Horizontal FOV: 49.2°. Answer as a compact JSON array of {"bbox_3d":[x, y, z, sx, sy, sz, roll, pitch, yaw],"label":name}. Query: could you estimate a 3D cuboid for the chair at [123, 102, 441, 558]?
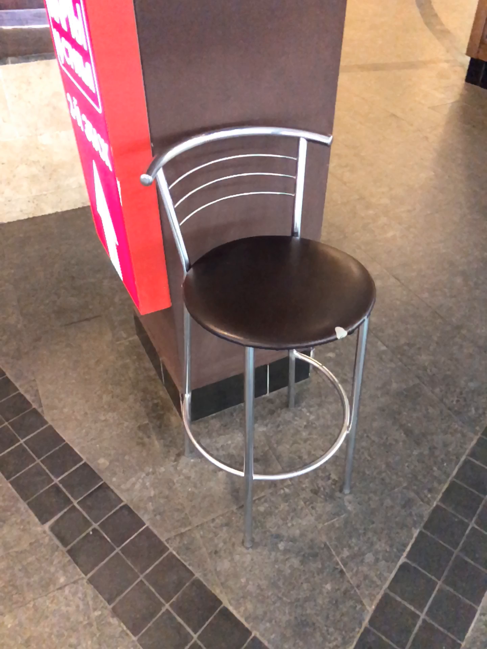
[{"bbox_3d":[0.053,0.052,1.255,0.411,0.936,0.411,-21,45,-23],"label":"chair"}]
